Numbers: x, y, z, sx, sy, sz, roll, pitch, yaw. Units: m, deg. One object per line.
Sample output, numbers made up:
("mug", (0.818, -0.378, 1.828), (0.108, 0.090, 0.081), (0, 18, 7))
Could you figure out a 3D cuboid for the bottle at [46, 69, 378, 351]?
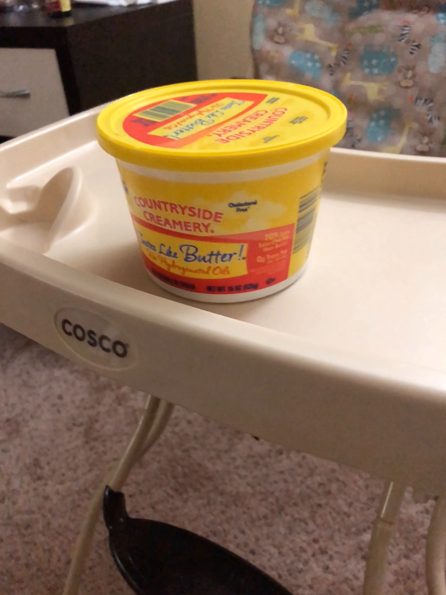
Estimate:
("bottle", (-0.001, -0.058, 0.269), (0.120, 0.090, 0.110), (-2, 36, 1))
